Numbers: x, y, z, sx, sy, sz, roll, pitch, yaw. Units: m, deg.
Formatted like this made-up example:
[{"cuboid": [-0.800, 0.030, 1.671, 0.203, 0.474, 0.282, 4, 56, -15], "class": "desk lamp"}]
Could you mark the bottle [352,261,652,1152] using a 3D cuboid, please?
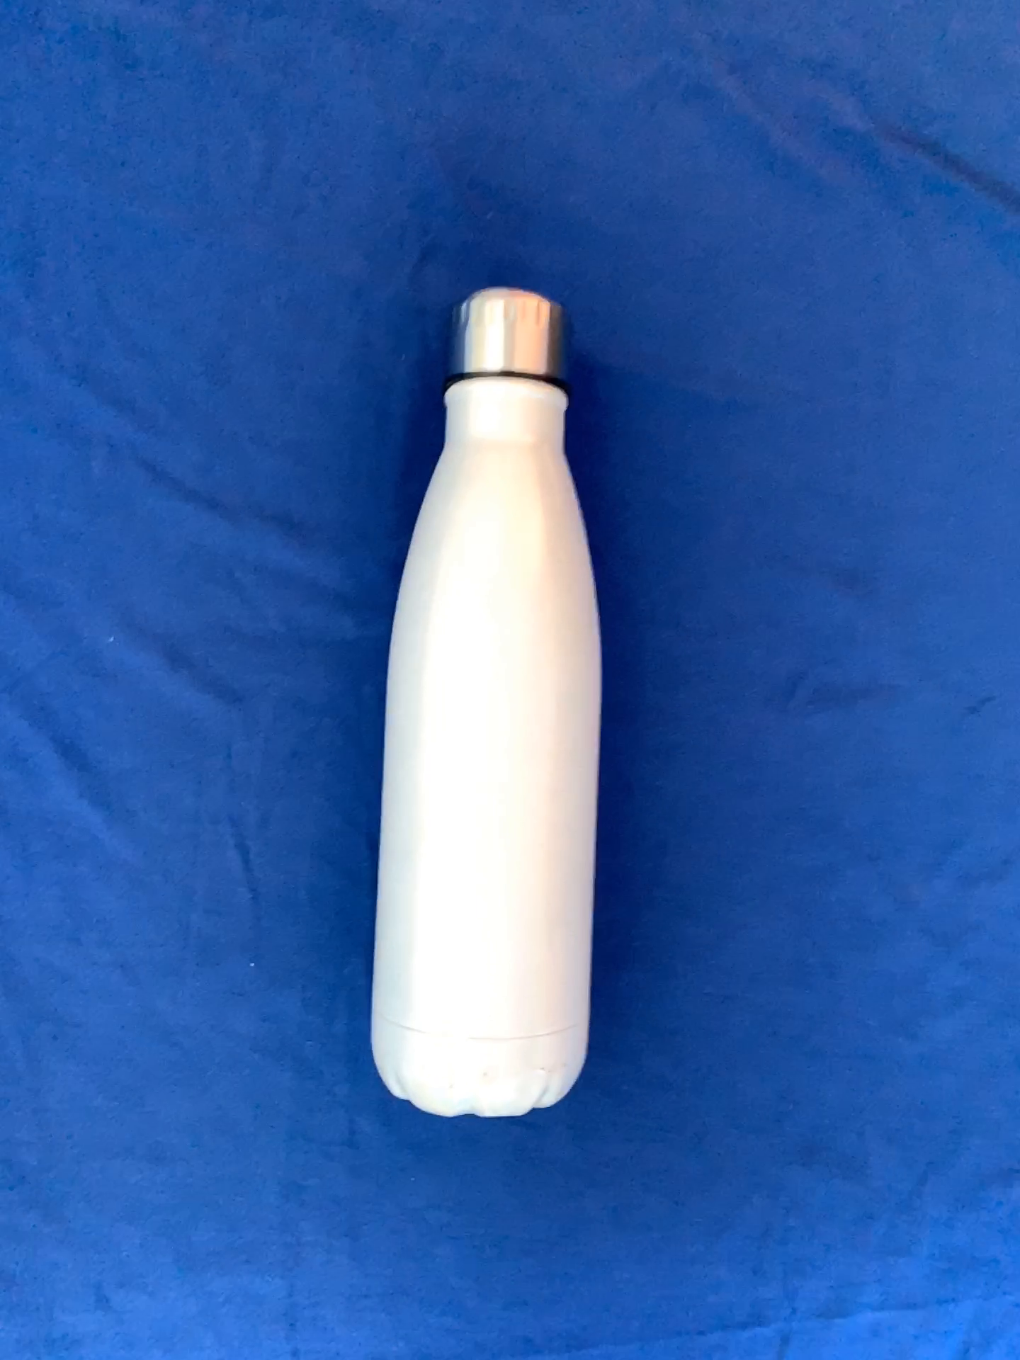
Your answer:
[{"cuboid": [-0.005, 0.009, 0.336, 0.080, 0.050, 0.260, 2, 90, -11], "class": "bottle"}]
